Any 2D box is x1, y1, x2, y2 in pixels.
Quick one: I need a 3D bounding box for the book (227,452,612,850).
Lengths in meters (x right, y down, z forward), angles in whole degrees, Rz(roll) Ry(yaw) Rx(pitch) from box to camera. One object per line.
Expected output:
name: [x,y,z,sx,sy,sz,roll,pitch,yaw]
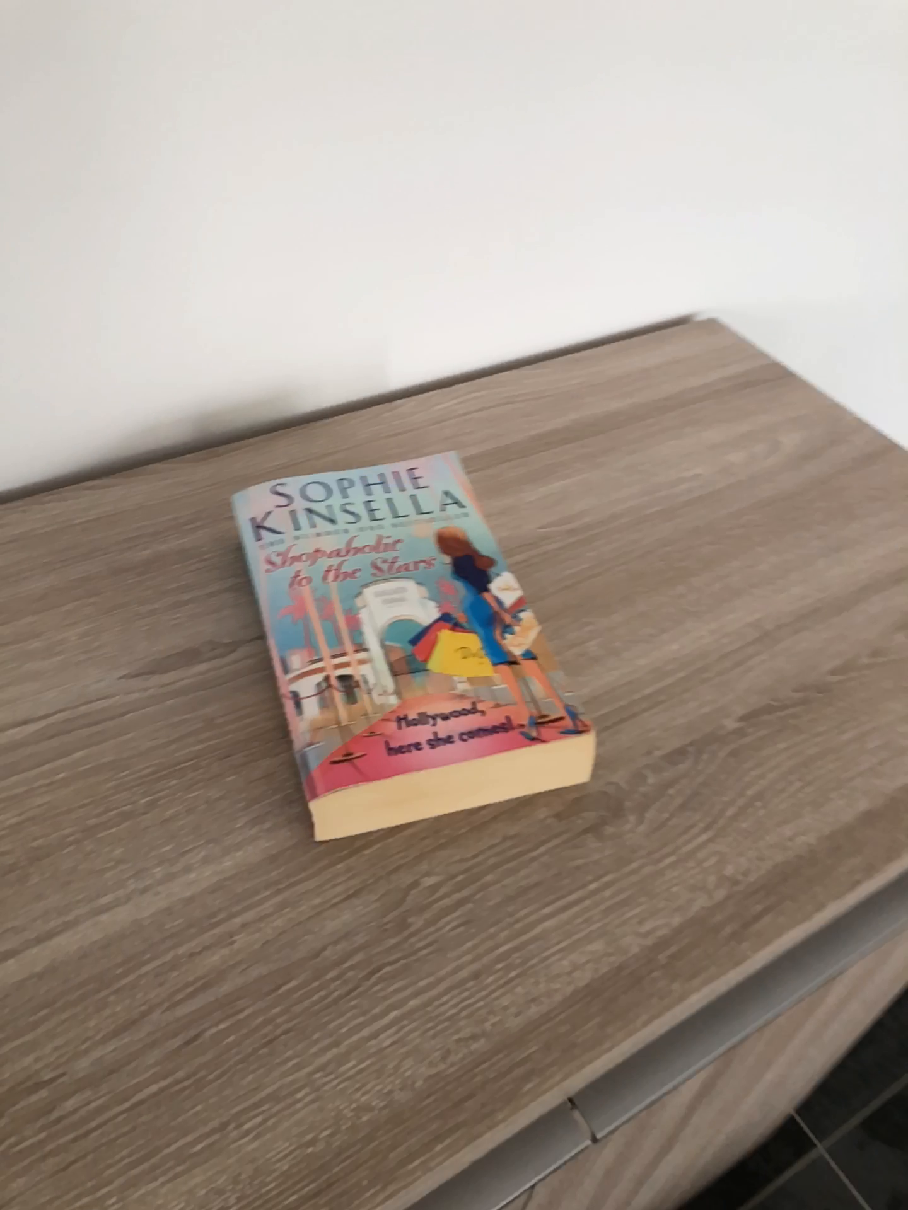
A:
book: [-0.027,0.008,0.484,0.130,0.040,0.201,-9,47,-16]
